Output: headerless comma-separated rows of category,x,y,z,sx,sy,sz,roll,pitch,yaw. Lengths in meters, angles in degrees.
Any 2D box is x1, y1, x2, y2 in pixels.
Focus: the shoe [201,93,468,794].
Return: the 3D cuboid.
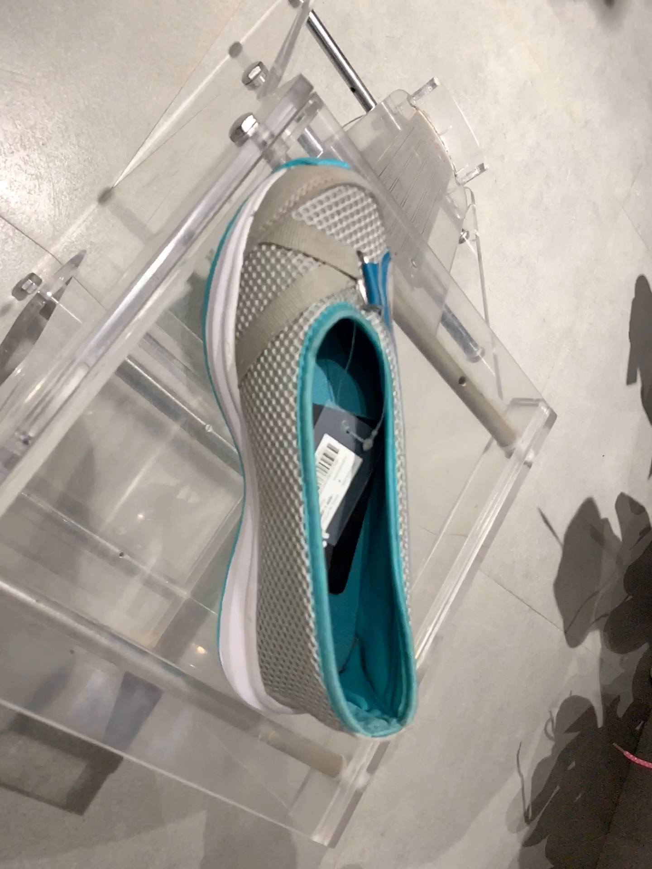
shoe,0.002,0.005,0.313,0.090,0.080,0.270,-4,97,-37
